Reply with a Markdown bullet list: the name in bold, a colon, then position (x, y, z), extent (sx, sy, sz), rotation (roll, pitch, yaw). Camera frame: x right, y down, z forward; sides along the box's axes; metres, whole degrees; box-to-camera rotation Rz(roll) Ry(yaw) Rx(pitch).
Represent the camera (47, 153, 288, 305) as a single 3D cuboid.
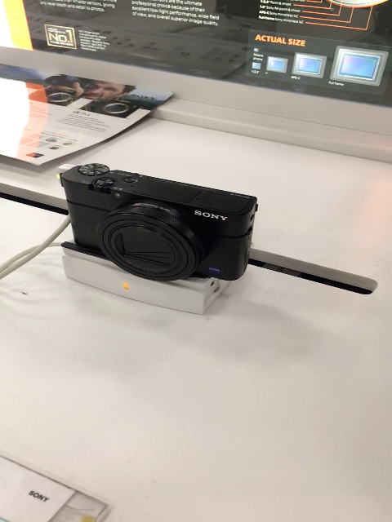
- **camera**: position (-0.018, -0.021, 0.313), extent (0.123, 0.059, 0.043), rotation (16, 45, 17)
